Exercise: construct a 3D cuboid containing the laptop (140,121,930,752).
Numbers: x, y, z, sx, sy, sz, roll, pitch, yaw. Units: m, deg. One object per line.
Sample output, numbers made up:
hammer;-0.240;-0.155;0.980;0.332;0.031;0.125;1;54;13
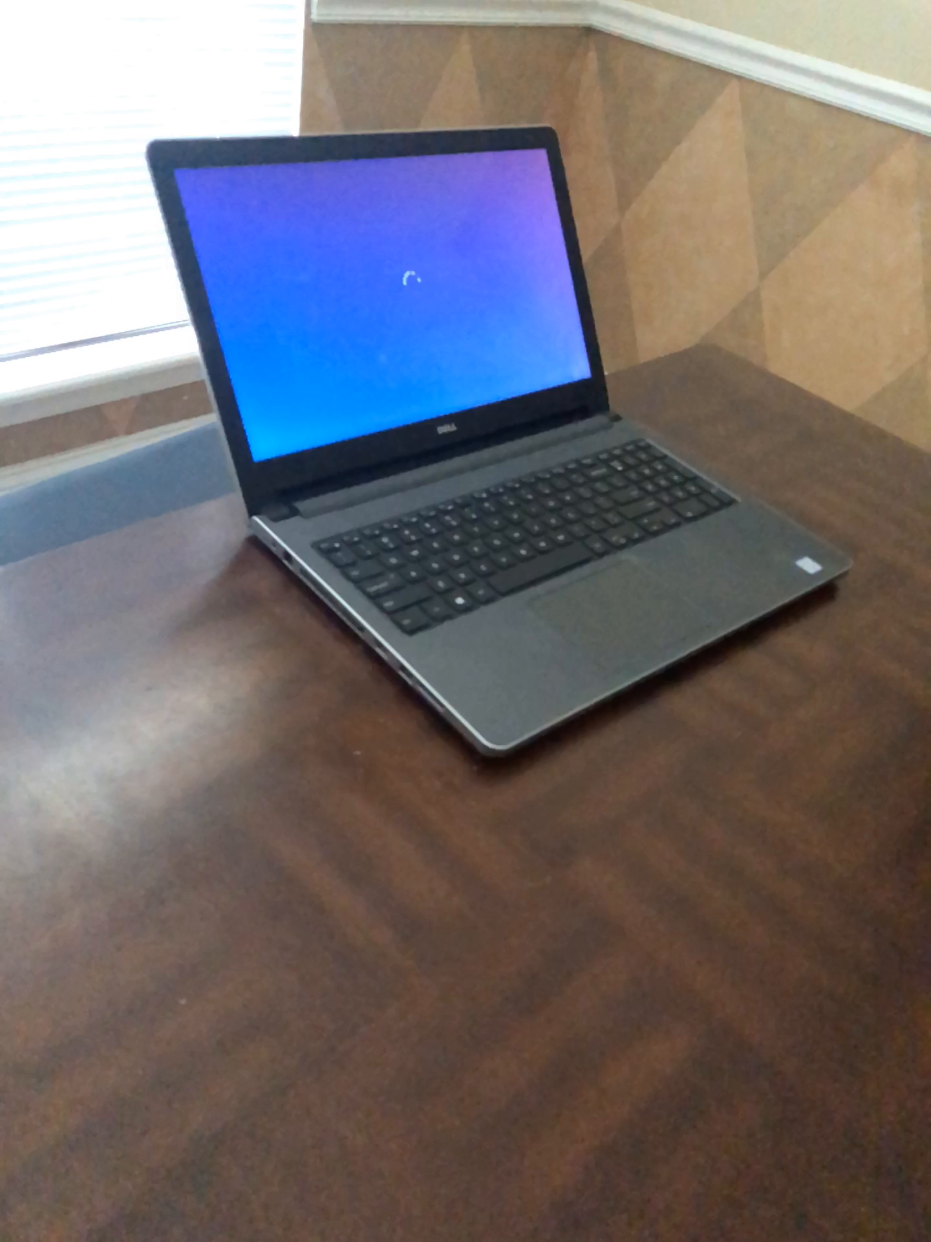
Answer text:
laptop;0.048;-0.173;0.694;0.368;0.198;0.393;-23;50;-36
